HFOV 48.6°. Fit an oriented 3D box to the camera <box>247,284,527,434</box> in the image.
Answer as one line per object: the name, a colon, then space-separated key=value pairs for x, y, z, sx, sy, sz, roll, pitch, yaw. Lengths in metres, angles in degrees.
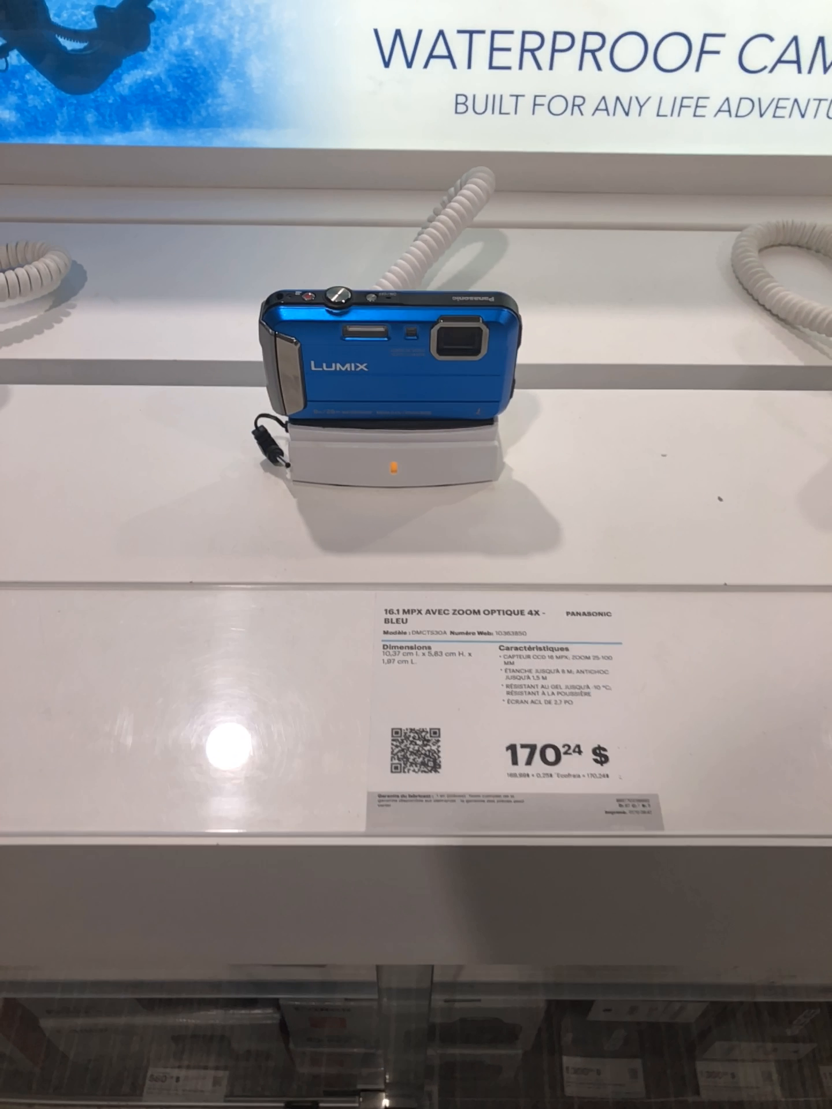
camera: x=-0.011 y=-0.079 z=0.378 sx=0.106 sy=0.060 sz=0.020 roll=-1 pitch=49 yaw=-1
